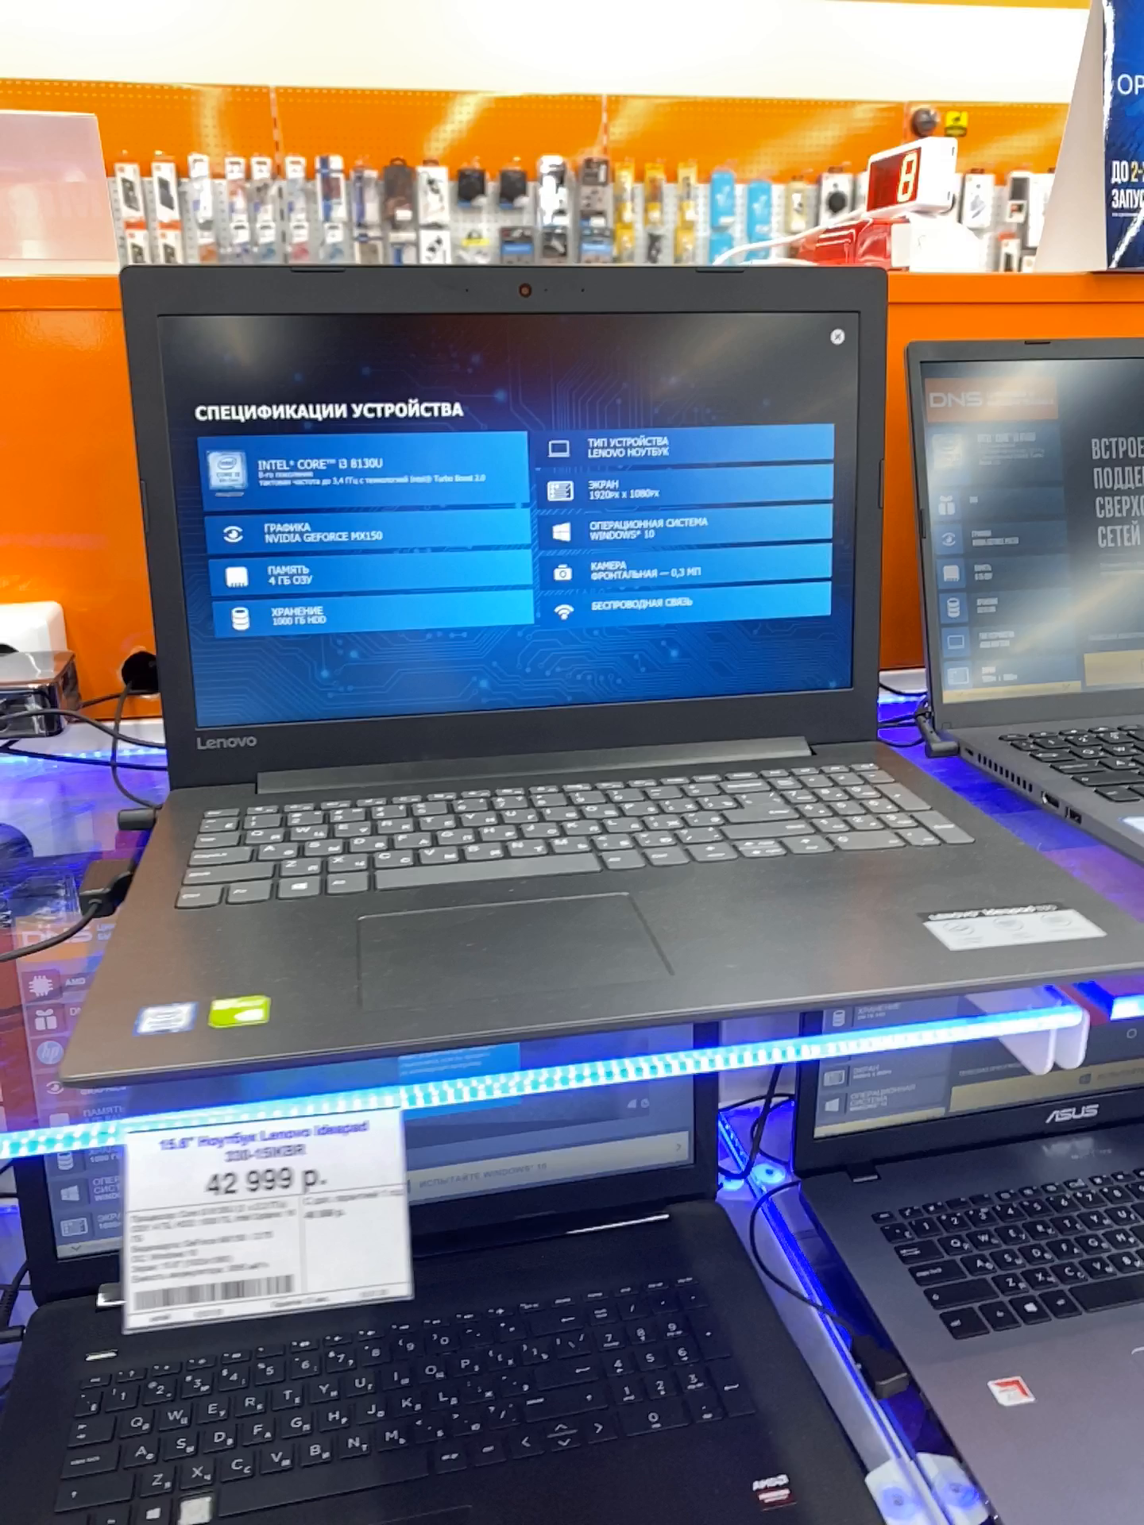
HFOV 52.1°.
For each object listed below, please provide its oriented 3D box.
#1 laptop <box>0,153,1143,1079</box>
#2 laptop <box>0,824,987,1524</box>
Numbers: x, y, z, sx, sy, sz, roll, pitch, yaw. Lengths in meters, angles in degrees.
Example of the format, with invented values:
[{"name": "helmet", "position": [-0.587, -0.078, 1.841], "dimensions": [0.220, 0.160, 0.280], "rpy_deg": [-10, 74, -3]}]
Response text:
[{"name": "laptop", "position": [0.003, -0.080, 0.476], "dimensions": [0.377, 0.244, 0.290], "rpy_deg": [-4, 18, -10]}, {"name": "laptop", "position": [-0.076, 0.208, 0.549], "dimensions": [0.400, 0.263, 0.272], "rpy_deg": [-4, 16, -13]}]
